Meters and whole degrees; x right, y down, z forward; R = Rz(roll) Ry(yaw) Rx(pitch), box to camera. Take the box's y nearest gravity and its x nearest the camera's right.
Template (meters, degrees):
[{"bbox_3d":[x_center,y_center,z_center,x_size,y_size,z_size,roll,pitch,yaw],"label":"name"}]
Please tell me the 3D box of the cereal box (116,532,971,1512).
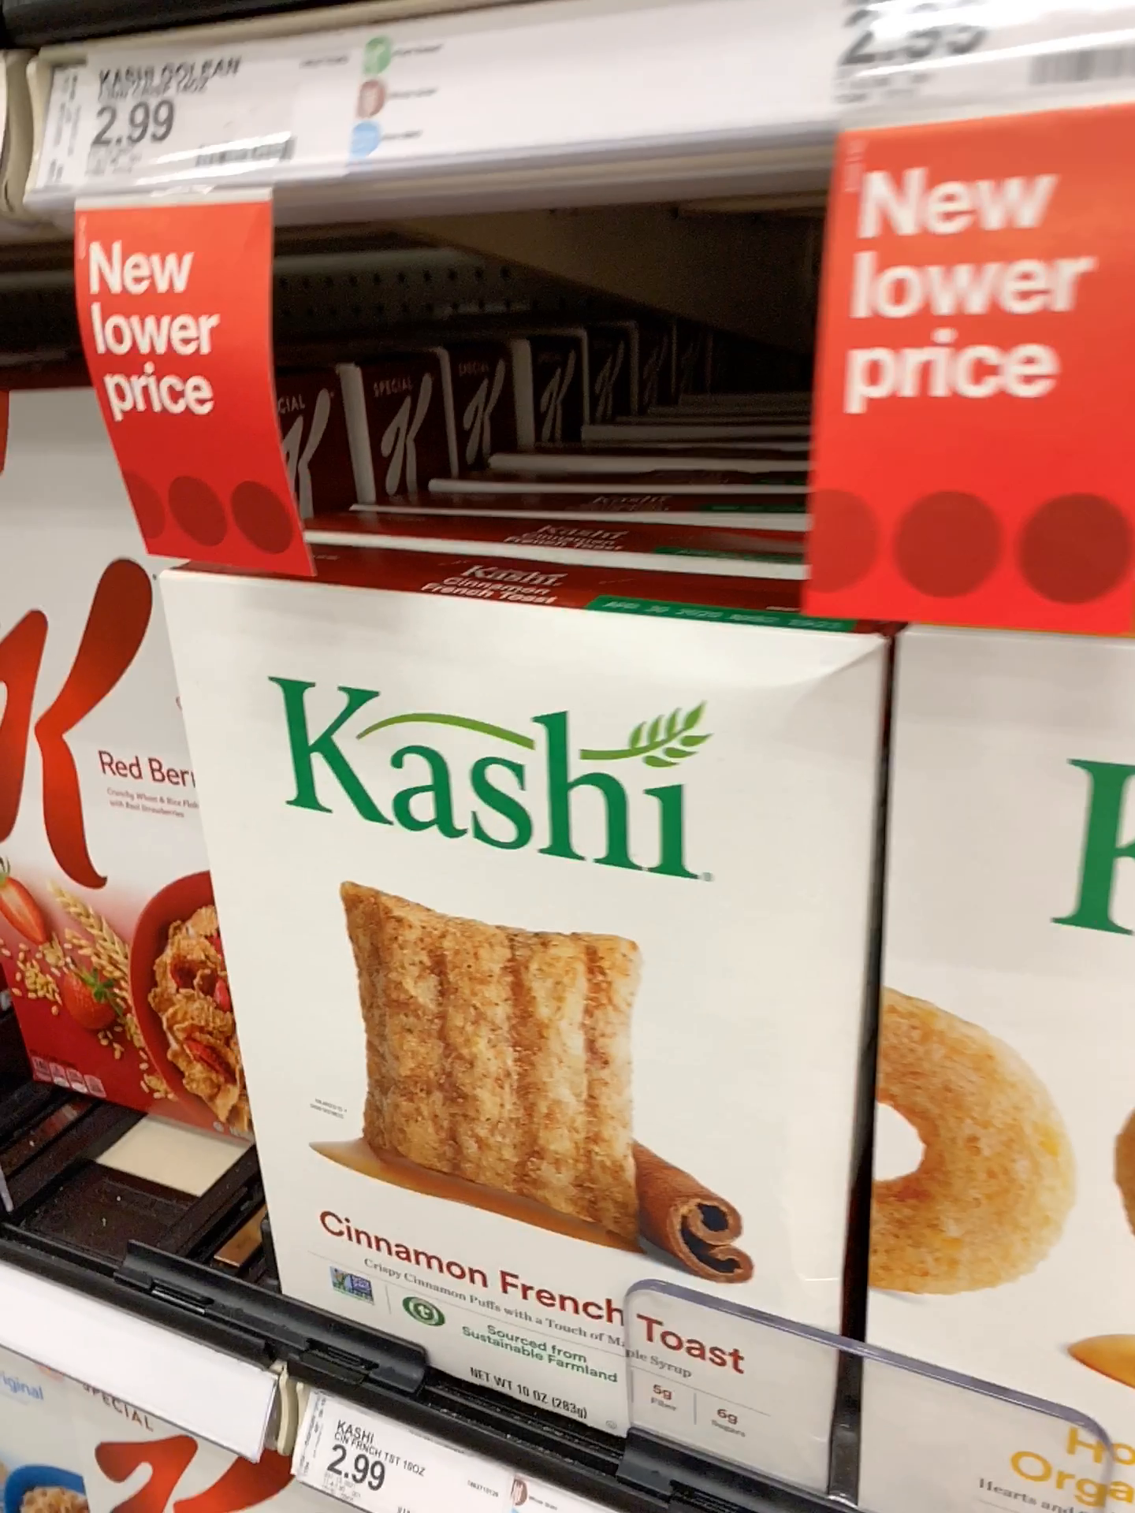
[{"bbox_3d":[-0.007,0.079,0.345,0.210,0.269,0.060,8,24,24],"label":"cereal box"}]
